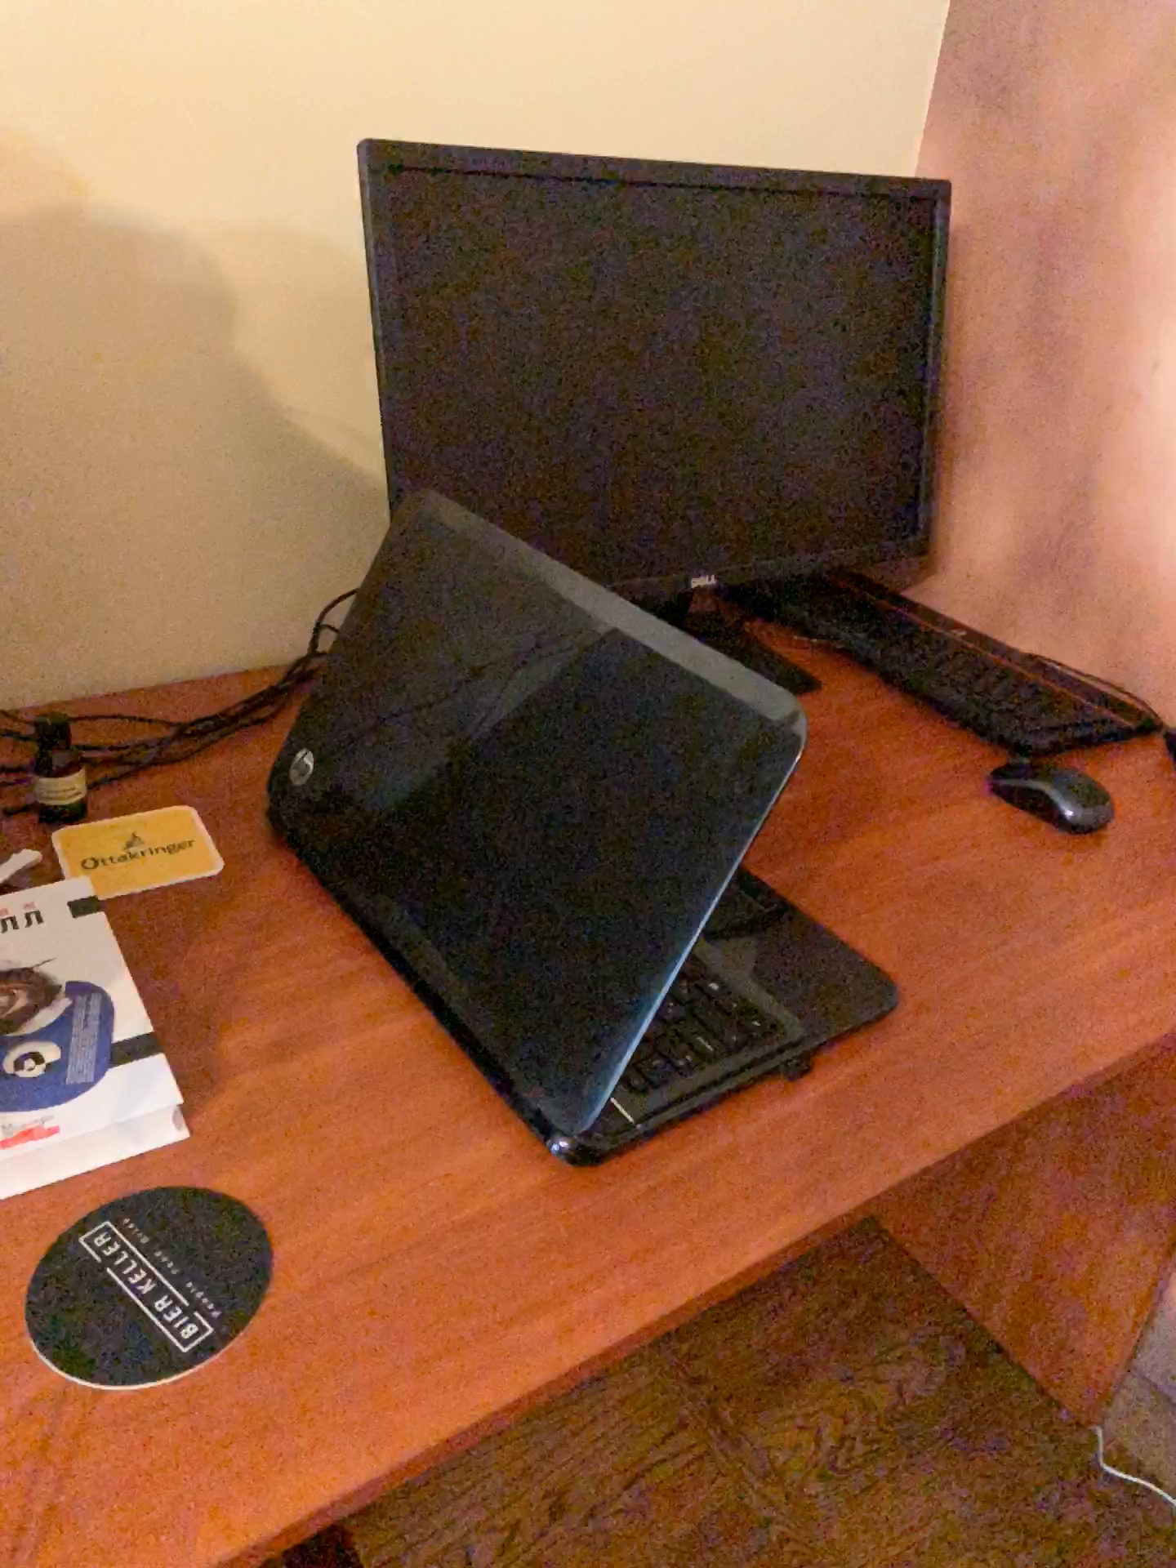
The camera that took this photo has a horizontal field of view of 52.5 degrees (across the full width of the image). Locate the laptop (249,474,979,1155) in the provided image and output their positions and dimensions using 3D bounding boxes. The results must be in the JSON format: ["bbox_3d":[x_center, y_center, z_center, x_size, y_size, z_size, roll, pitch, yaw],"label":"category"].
[{"bbox_3d":[-0.013,-0.020,0.679,0.222,0.198,0.349,-15,36,-34],"label":"laptop"}]
